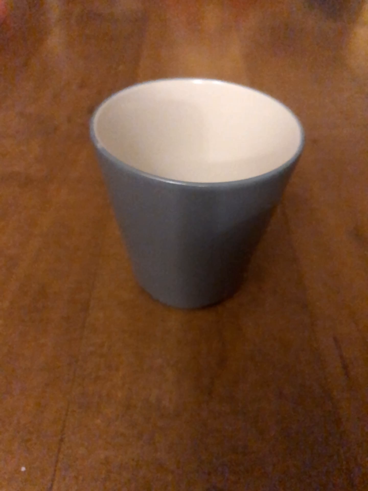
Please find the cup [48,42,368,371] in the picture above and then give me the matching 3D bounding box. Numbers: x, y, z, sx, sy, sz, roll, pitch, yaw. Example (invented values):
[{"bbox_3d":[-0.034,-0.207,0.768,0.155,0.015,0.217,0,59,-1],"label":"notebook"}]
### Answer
[{"bbox_3d":[-0.001,-0.032,0.234,0.100,0.099,0.141,-17,48,-19],"label":"cup"}]
